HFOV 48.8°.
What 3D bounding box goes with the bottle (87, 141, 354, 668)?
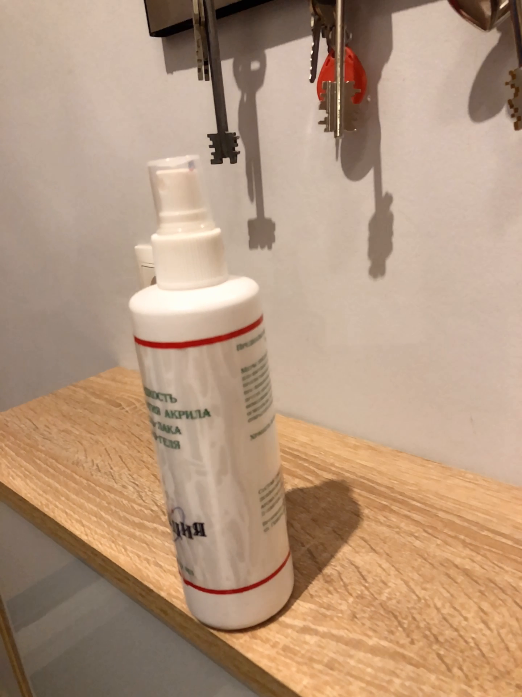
[{"bbox_3d":[-0.010,0.020,0.226,0.059,0.183,0.056,-6,18,2],"label":"bottle"}]
